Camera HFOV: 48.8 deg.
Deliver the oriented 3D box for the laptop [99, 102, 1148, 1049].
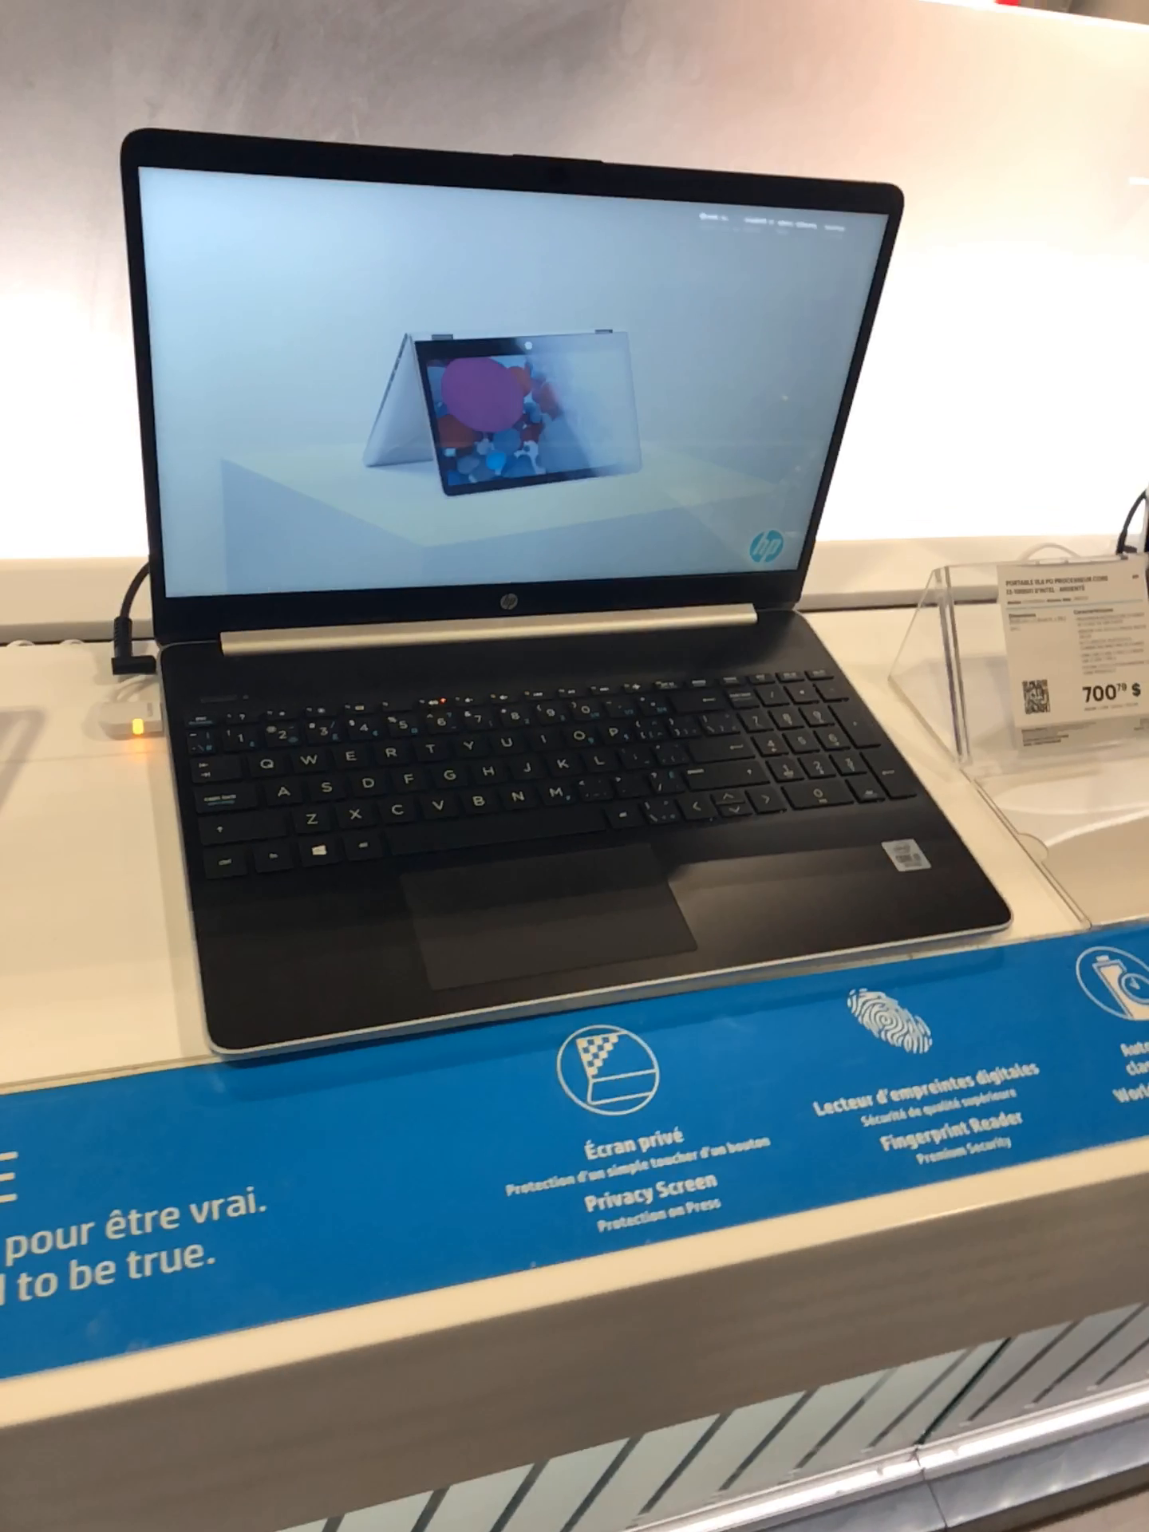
[{"bbox_3d":[0.004,-0.095,0.530,0.356,0.221,0.284,-5,45,-19],"label":"laptop"}]
